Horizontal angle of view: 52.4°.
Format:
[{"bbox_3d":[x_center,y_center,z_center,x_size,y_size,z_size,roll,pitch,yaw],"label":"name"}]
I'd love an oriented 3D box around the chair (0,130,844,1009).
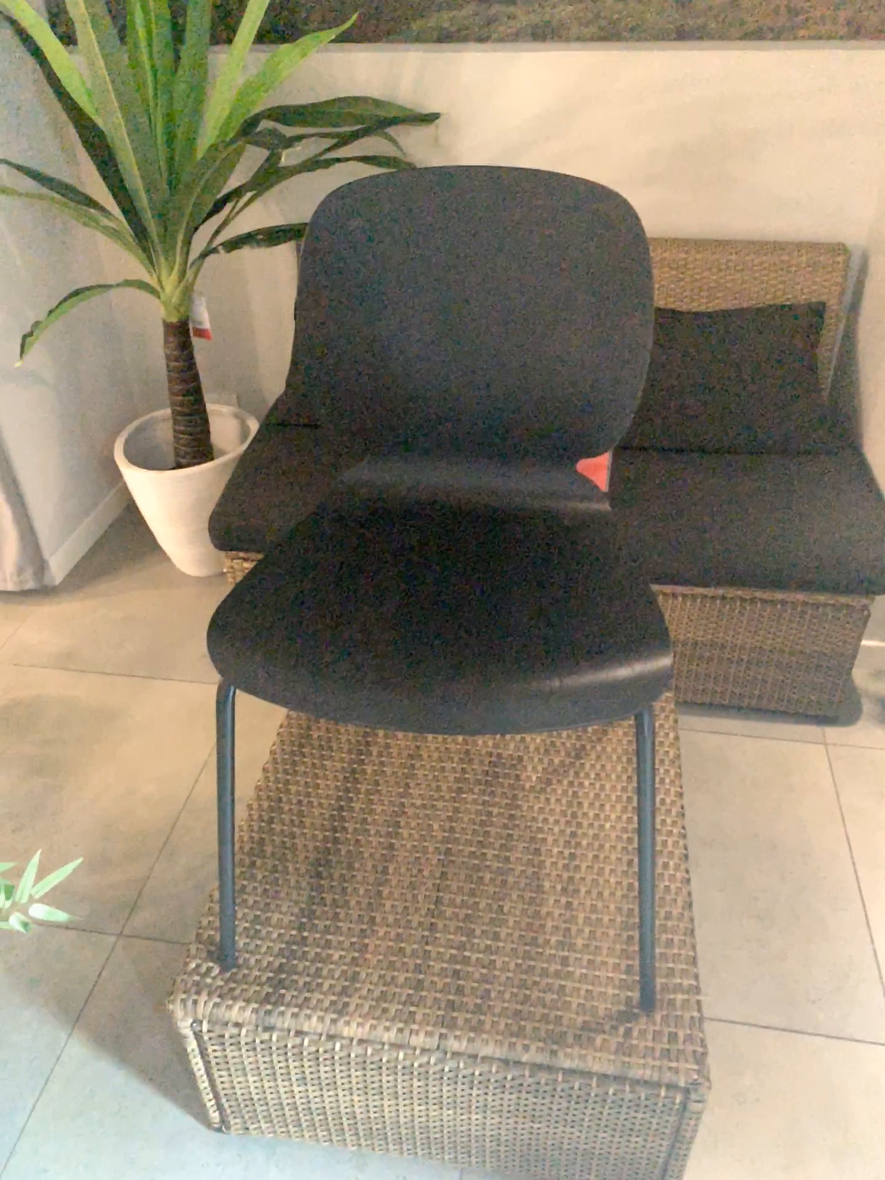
[{"bbox_3d":[0.009,-0.037,1.006,0.530,0.767,0.562,4,36,6],"label":"chair"}]
